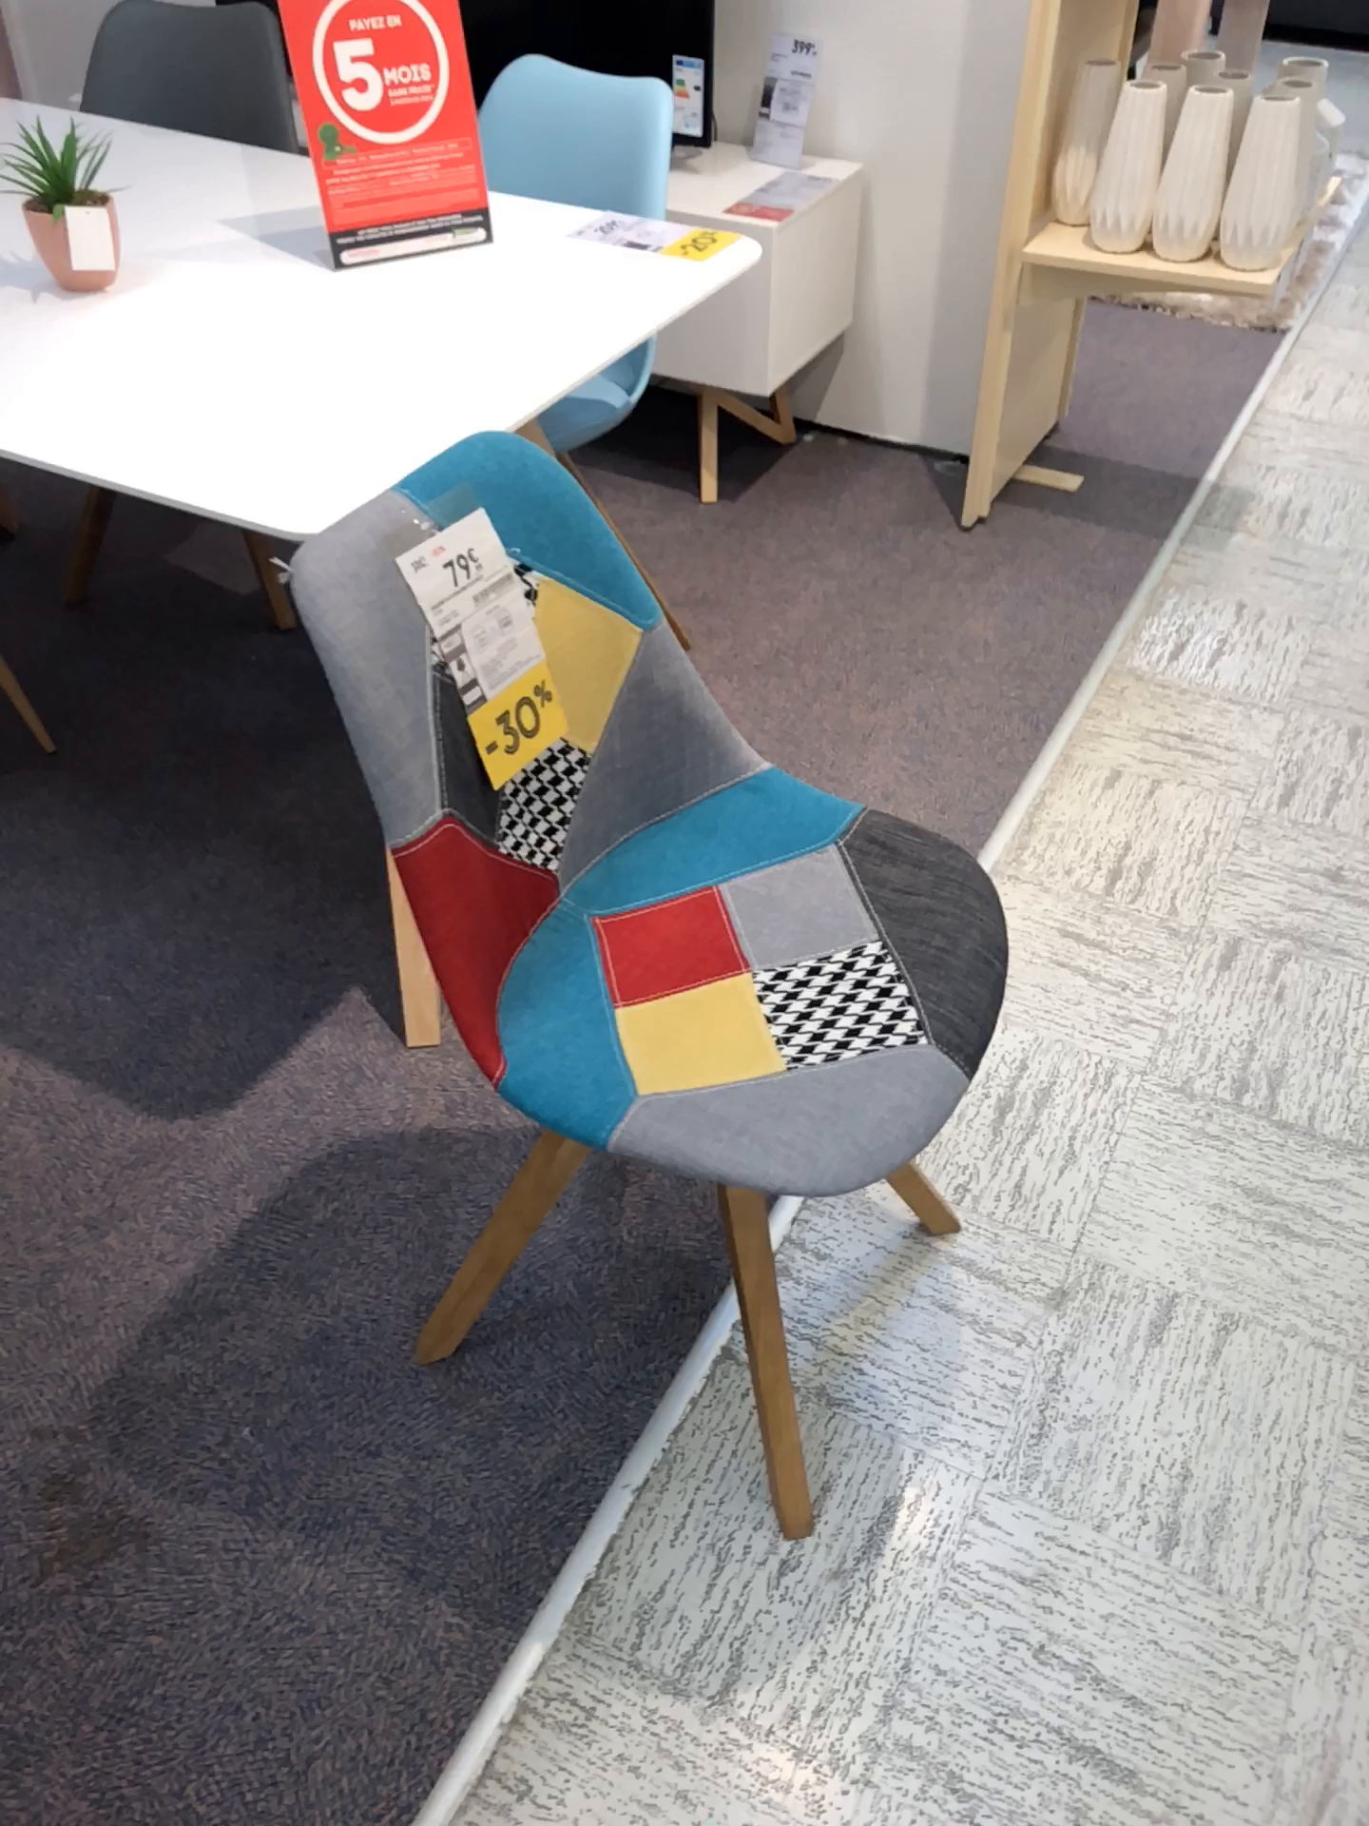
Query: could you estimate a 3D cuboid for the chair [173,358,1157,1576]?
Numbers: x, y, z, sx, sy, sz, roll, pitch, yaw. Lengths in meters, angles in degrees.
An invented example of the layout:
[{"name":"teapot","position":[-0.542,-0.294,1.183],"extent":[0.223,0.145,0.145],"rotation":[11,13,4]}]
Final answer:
[{"name":"chair","position":[0.008,0.057,1.281],"extent":[0.510,0.815,0.473],"rotation":[18,44,19]}]
